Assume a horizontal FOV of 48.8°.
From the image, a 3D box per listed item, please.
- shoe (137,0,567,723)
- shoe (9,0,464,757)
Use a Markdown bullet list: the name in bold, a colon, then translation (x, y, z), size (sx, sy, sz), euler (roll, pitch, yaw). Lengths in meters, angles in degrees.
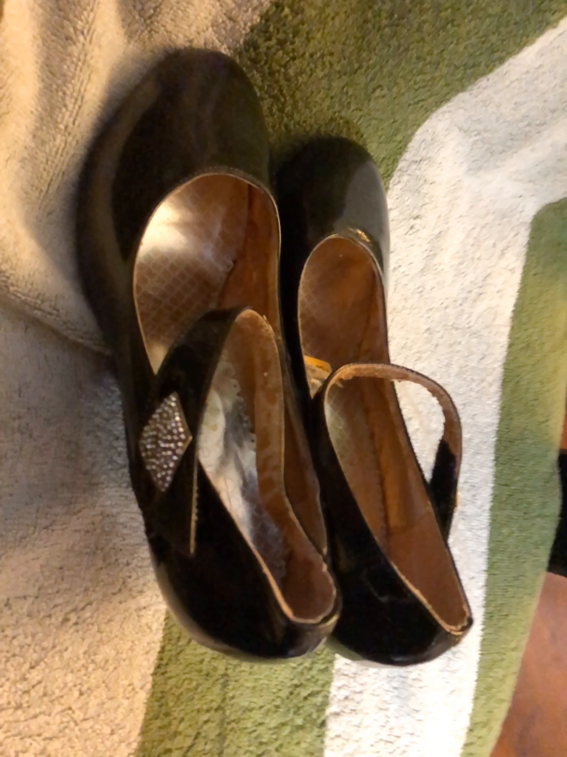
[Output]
- **shoe**: translation (0.034, -0.012, 0.262), size (0.090, 0.120, 0.240), euler (18, 83, -34)
- **shoe**: translation (-0.025, -0.025, 0.225), size (0.090, 0.120, 0.240), euler (6, 90, -35)
